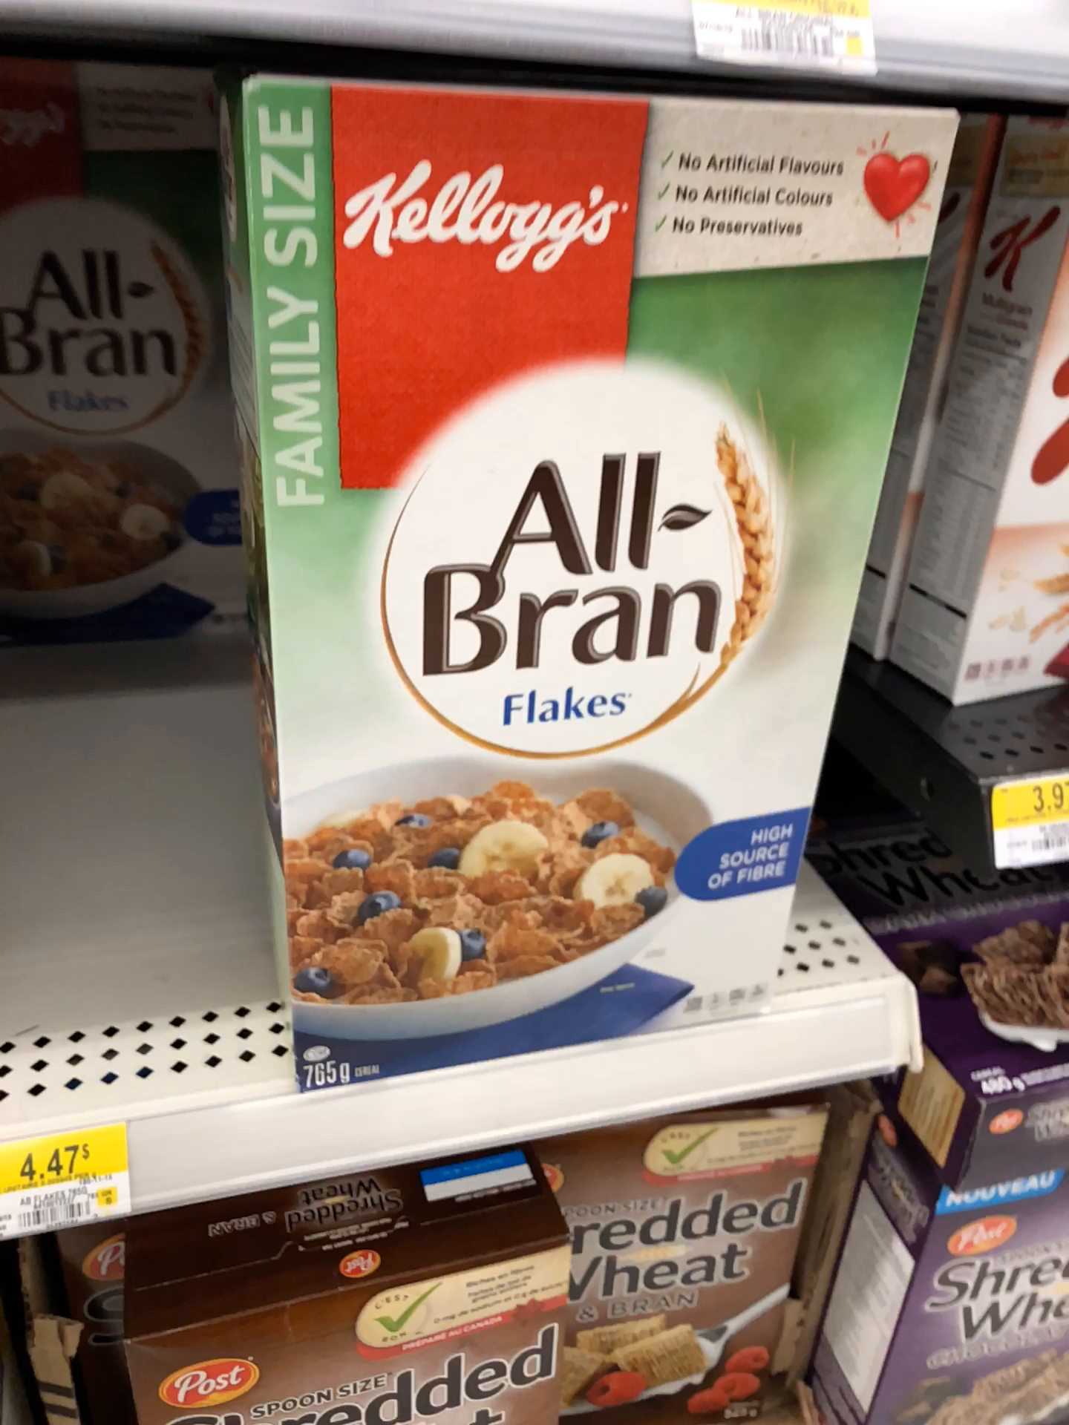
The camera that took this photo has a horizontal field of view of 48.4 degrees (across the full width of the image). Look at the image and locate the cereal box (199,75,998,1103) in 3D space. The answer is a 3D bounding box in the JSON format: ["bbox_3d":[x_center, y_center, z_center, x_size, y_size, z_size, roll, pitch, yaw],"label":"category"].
[{"bbox_3d":[0.007,-0.031,0.408,0.210,0.318,0.081,-5,29,-17],"label":"cereal box"}]
